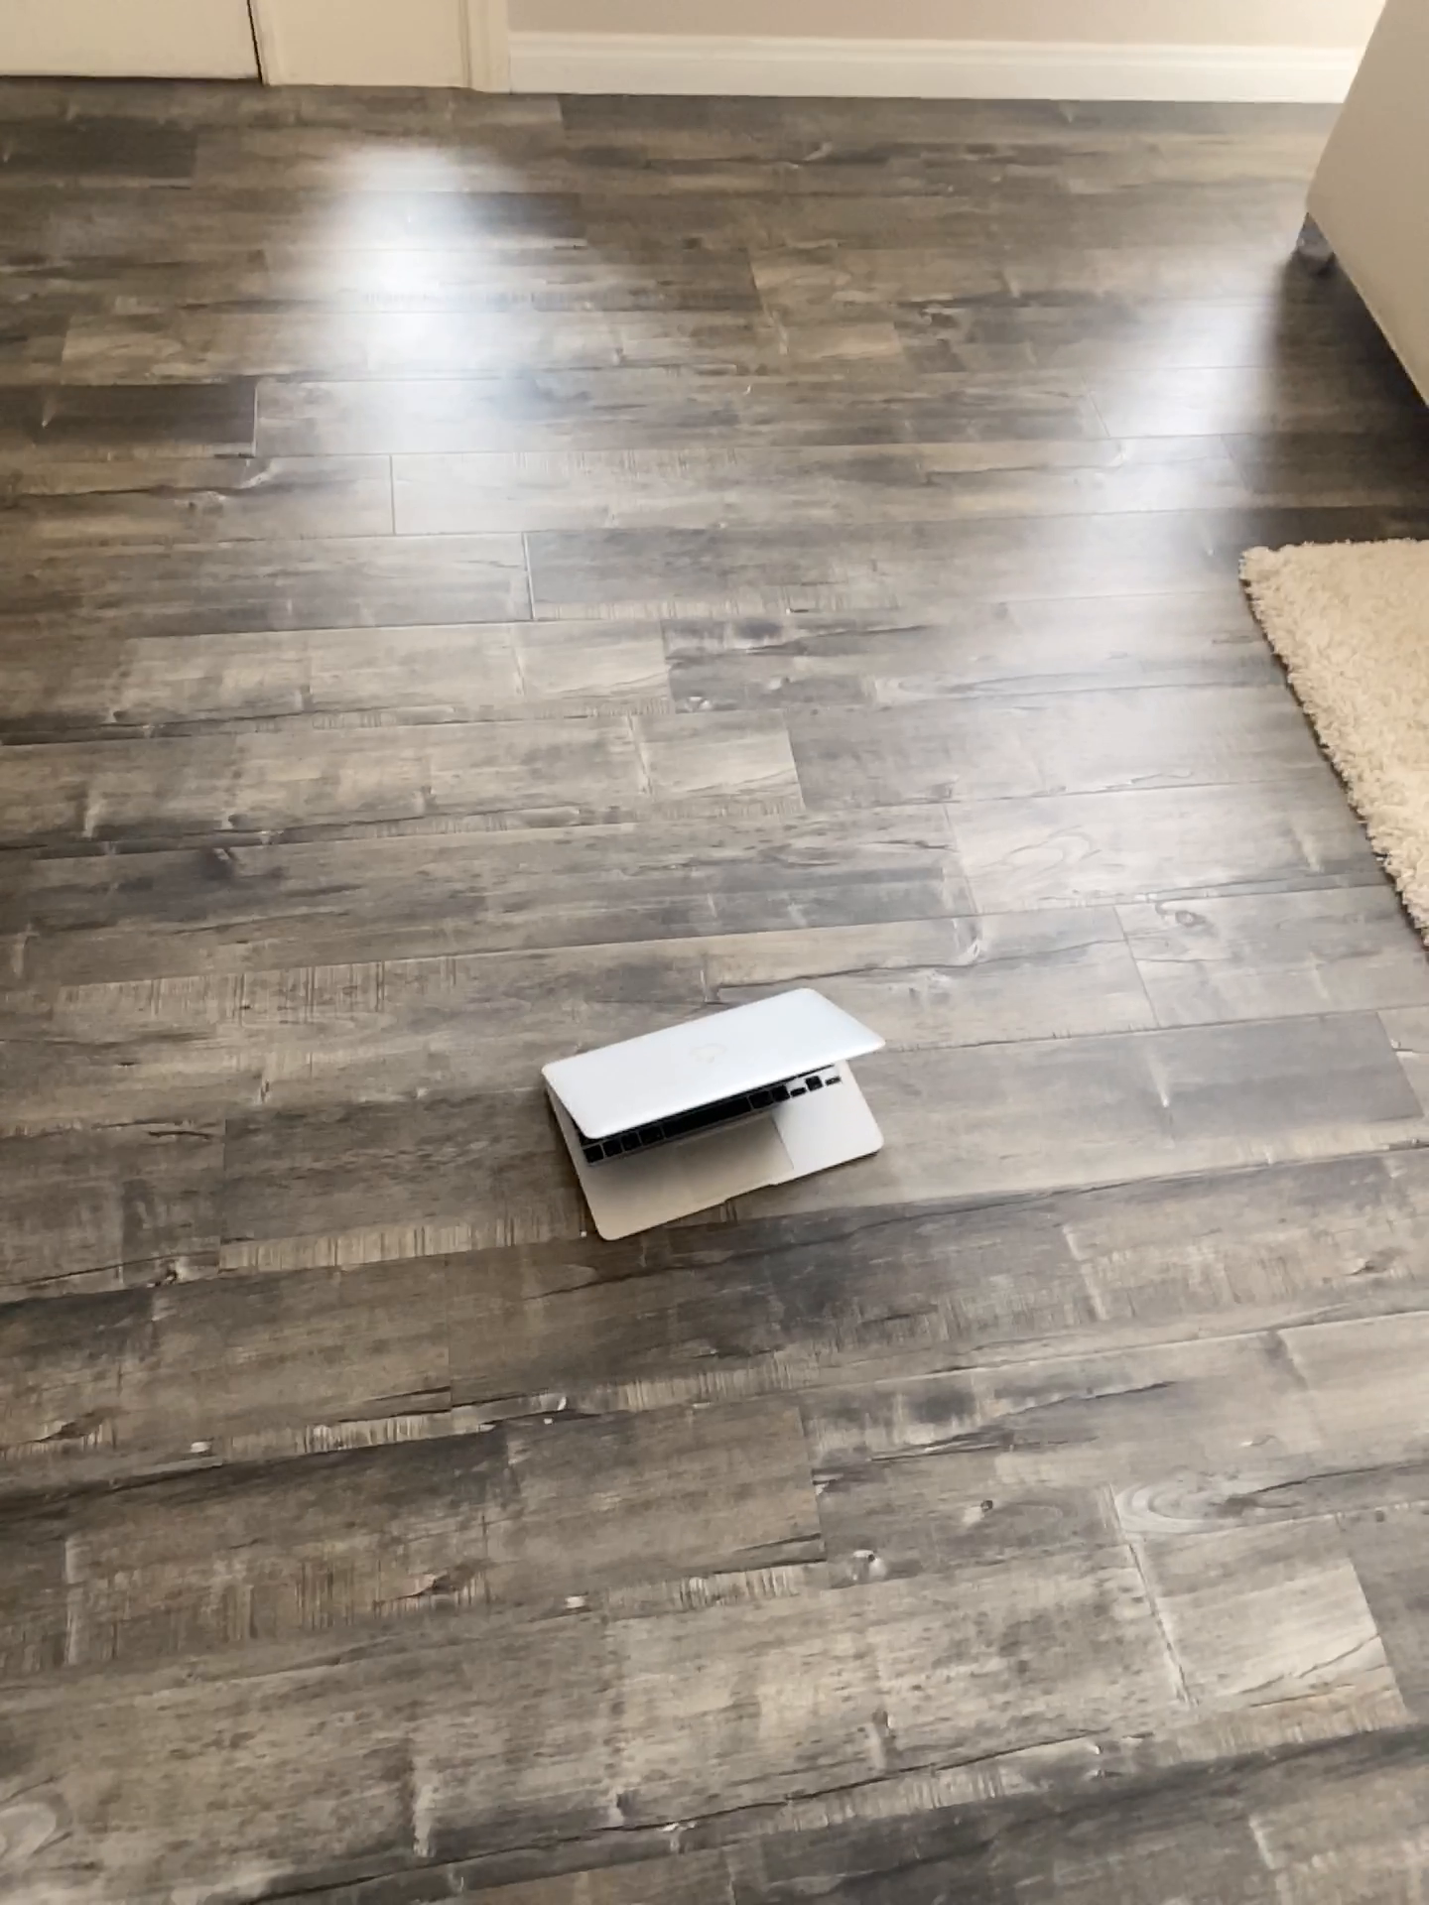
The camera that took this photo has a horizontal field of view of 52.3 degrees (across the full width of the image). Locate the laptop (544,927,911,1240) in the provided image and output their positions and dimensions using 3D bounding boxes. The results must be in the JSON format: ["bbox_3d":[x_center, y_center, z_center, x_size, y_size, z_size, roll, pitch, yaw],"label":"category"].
[{"bbox_3d":[0.006,0.110,1.269,0.270,0.113,0.173,-15,57,-17],"label":"laptop"}]
